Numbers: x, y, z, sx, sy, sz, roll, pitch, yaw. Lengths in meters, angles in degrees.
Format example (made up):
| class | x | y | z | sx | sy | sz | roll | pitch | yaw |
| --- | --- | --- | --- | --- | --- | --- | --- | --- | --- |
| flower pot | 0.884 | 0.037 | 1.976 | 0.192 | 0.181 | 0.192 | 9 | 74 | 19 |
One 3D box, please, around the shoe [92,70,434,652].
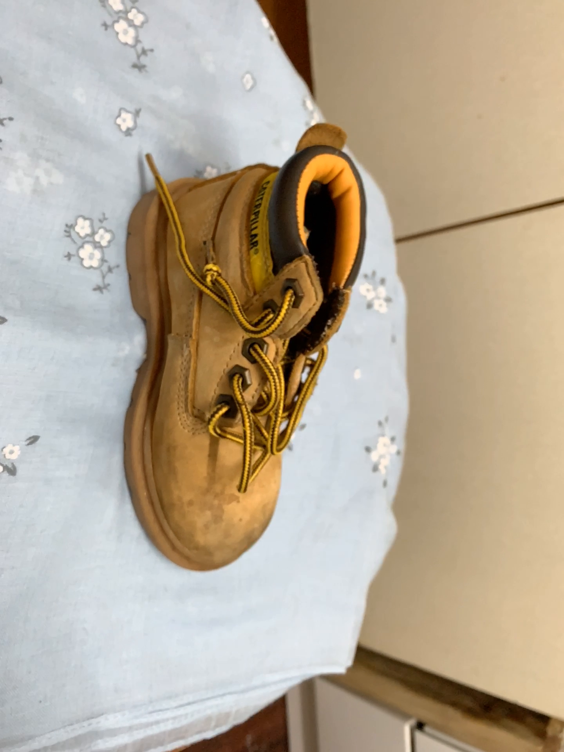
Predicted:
| class | x | y | z | sx | sy | sz | roll | pitch | yaw |
| --- | --- | --- | --- | --- | --- | --- | --- | --- | --- |
| shoe | -0.012 | -0.004 | 0.269 | 0.096 | 0.119 | 0.190 | 0 | 88 | -44 |
